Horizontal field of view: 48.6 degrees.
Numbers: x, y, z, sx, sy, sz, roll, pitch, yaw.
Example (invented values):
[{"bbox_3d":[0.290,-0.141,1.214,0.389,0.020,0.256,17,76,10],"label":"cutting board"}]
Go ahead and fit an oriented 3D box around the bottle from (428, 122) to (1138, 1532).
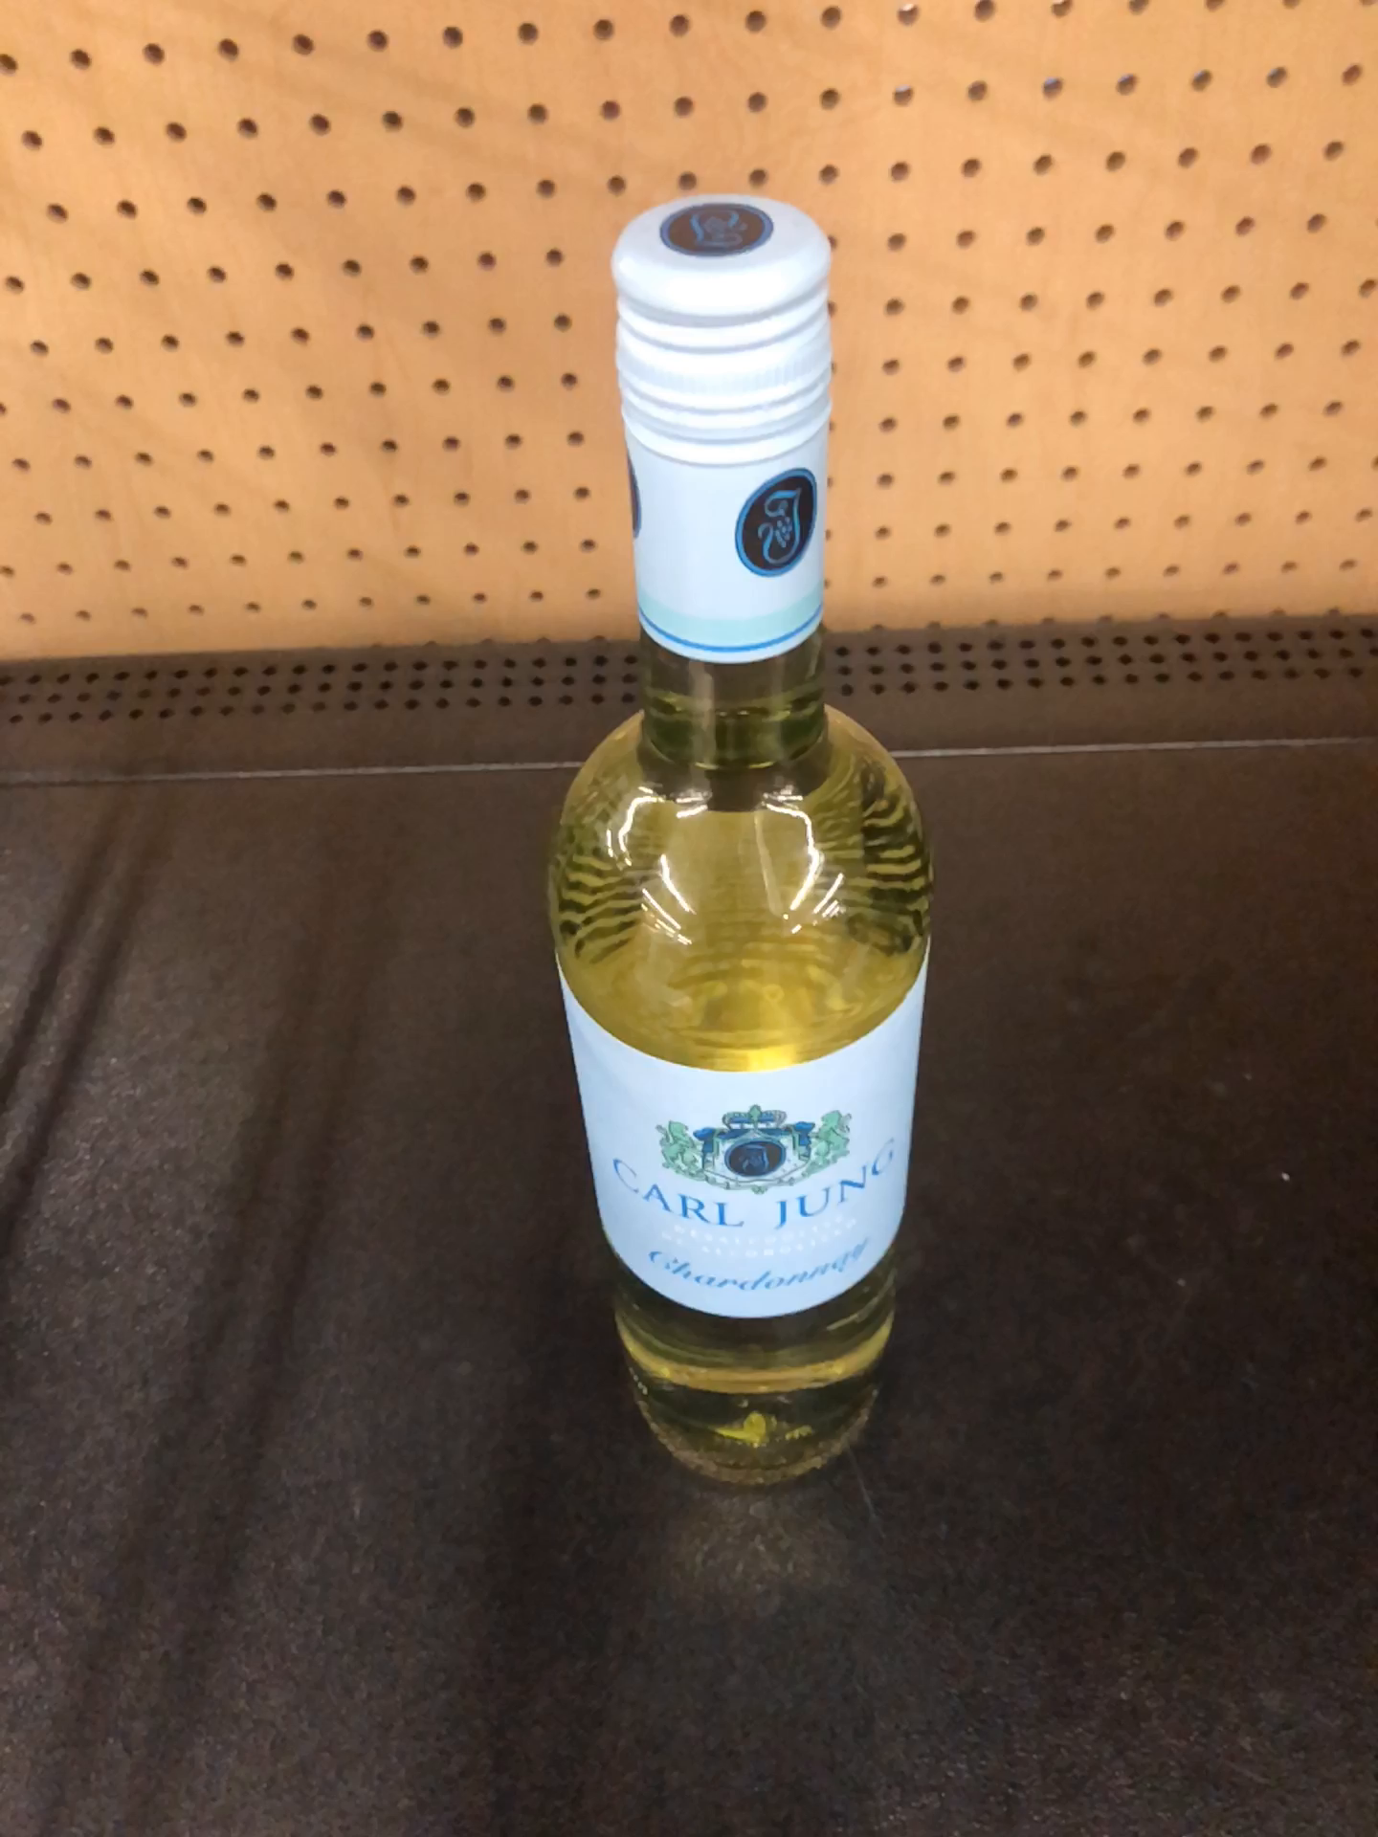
[{"bbox_3d":[0.015,0.022,0.315,0.080,0.318,0.080,-2,47,2],"label":"bottle"}]
